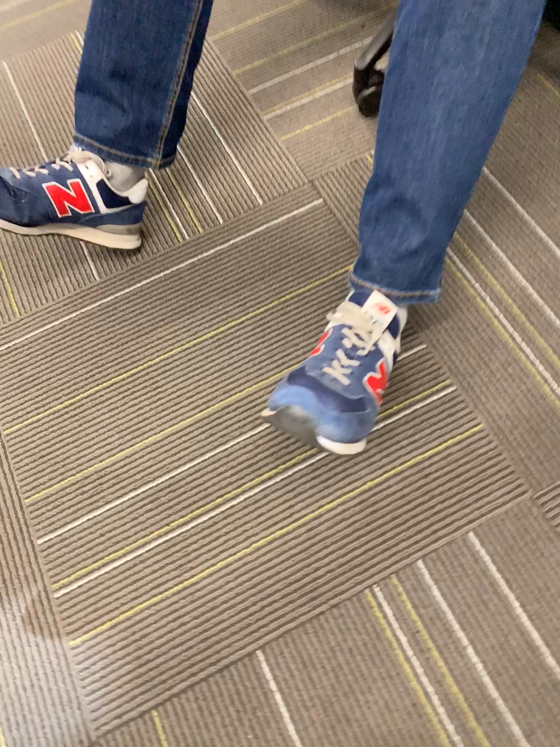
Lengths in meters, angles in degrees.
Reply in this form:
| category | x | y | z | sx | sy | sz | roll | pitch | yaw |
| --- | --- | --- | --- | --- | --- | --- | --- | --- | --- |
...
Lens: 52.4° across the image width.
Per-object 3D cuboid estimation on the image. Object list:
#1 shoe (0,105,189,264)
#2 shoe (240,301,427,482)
| category | x | y | z | sx | sy | sz | roll | pitch | yaw |
| --- | --- | --- | --- | --- | --- | --- | --- | --- | --- |
| shoe | -0.307 | -0.269 | 0.853 | 0.121 | 0.296 | 0.136 | 39 | 116 | 32 |
| shoe | 0.079 | -0.001 | 0.658 | 0.115 | 0.302 | 0.096 | 22 | 111 | 15 |
